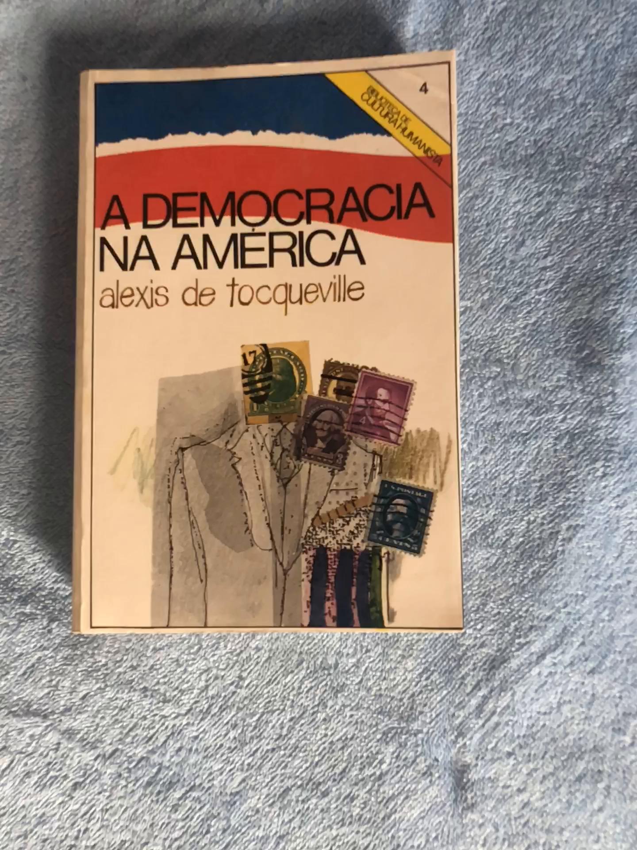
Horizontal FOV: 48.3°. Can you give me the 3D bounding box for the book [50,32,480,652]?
[{"bbox_3d":[-0.017,-0.026,0.258,0.140,0.050,0.200,0,90,3],"label":"book"}]
